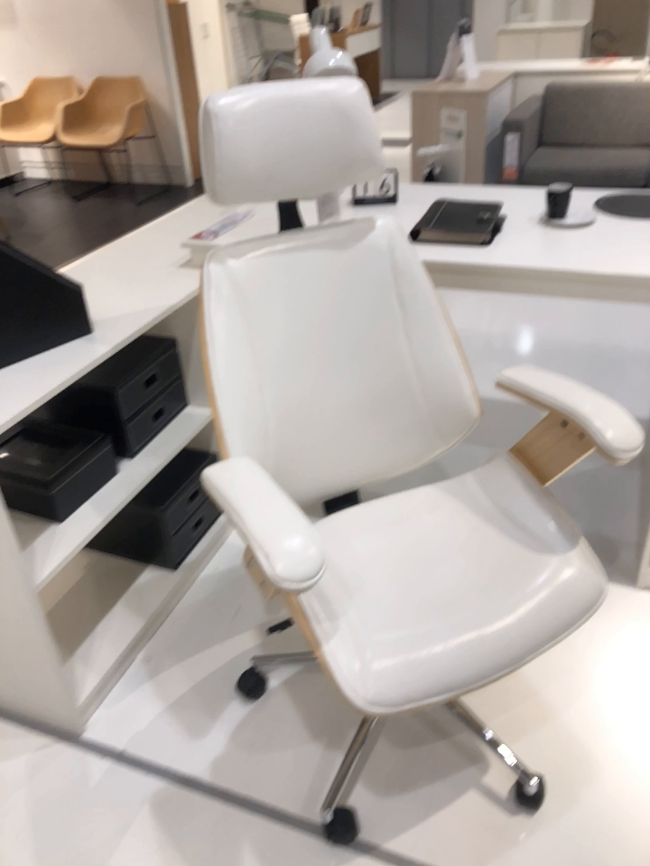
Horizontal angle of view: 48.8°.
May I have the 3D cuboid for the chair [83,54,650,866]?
[{"bbox_3d":[0.124,0.042,1.186,0.671,1.102,0.705,-16,34,-19],"label":"chair"}]
